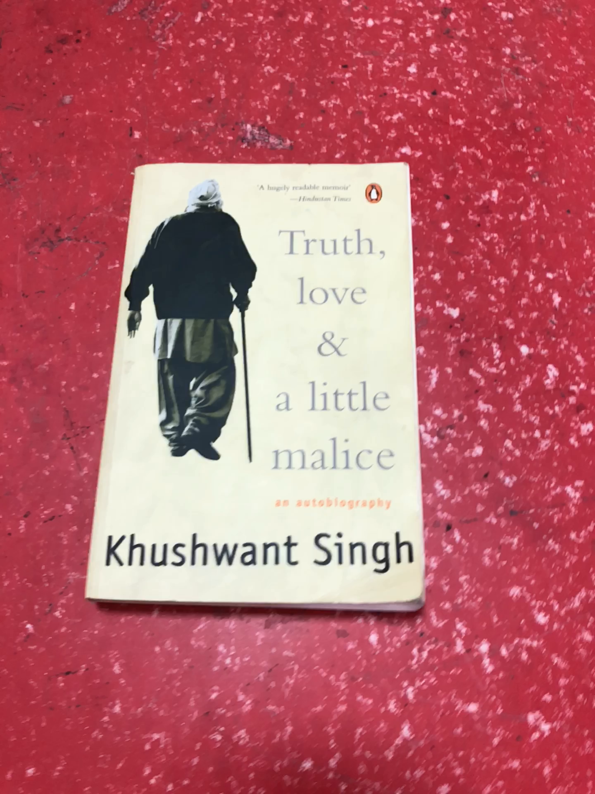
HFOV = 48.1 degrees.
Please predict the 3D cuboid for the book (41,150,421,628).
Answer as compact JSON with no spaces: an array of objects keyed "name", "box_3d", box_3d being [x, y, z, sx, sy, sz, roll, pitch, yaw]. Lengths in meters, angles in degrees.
[{"name":"book","box_3d":[-0.022,-0.010,0.298,0.140,0.040,0.210,0,70,3]}]
